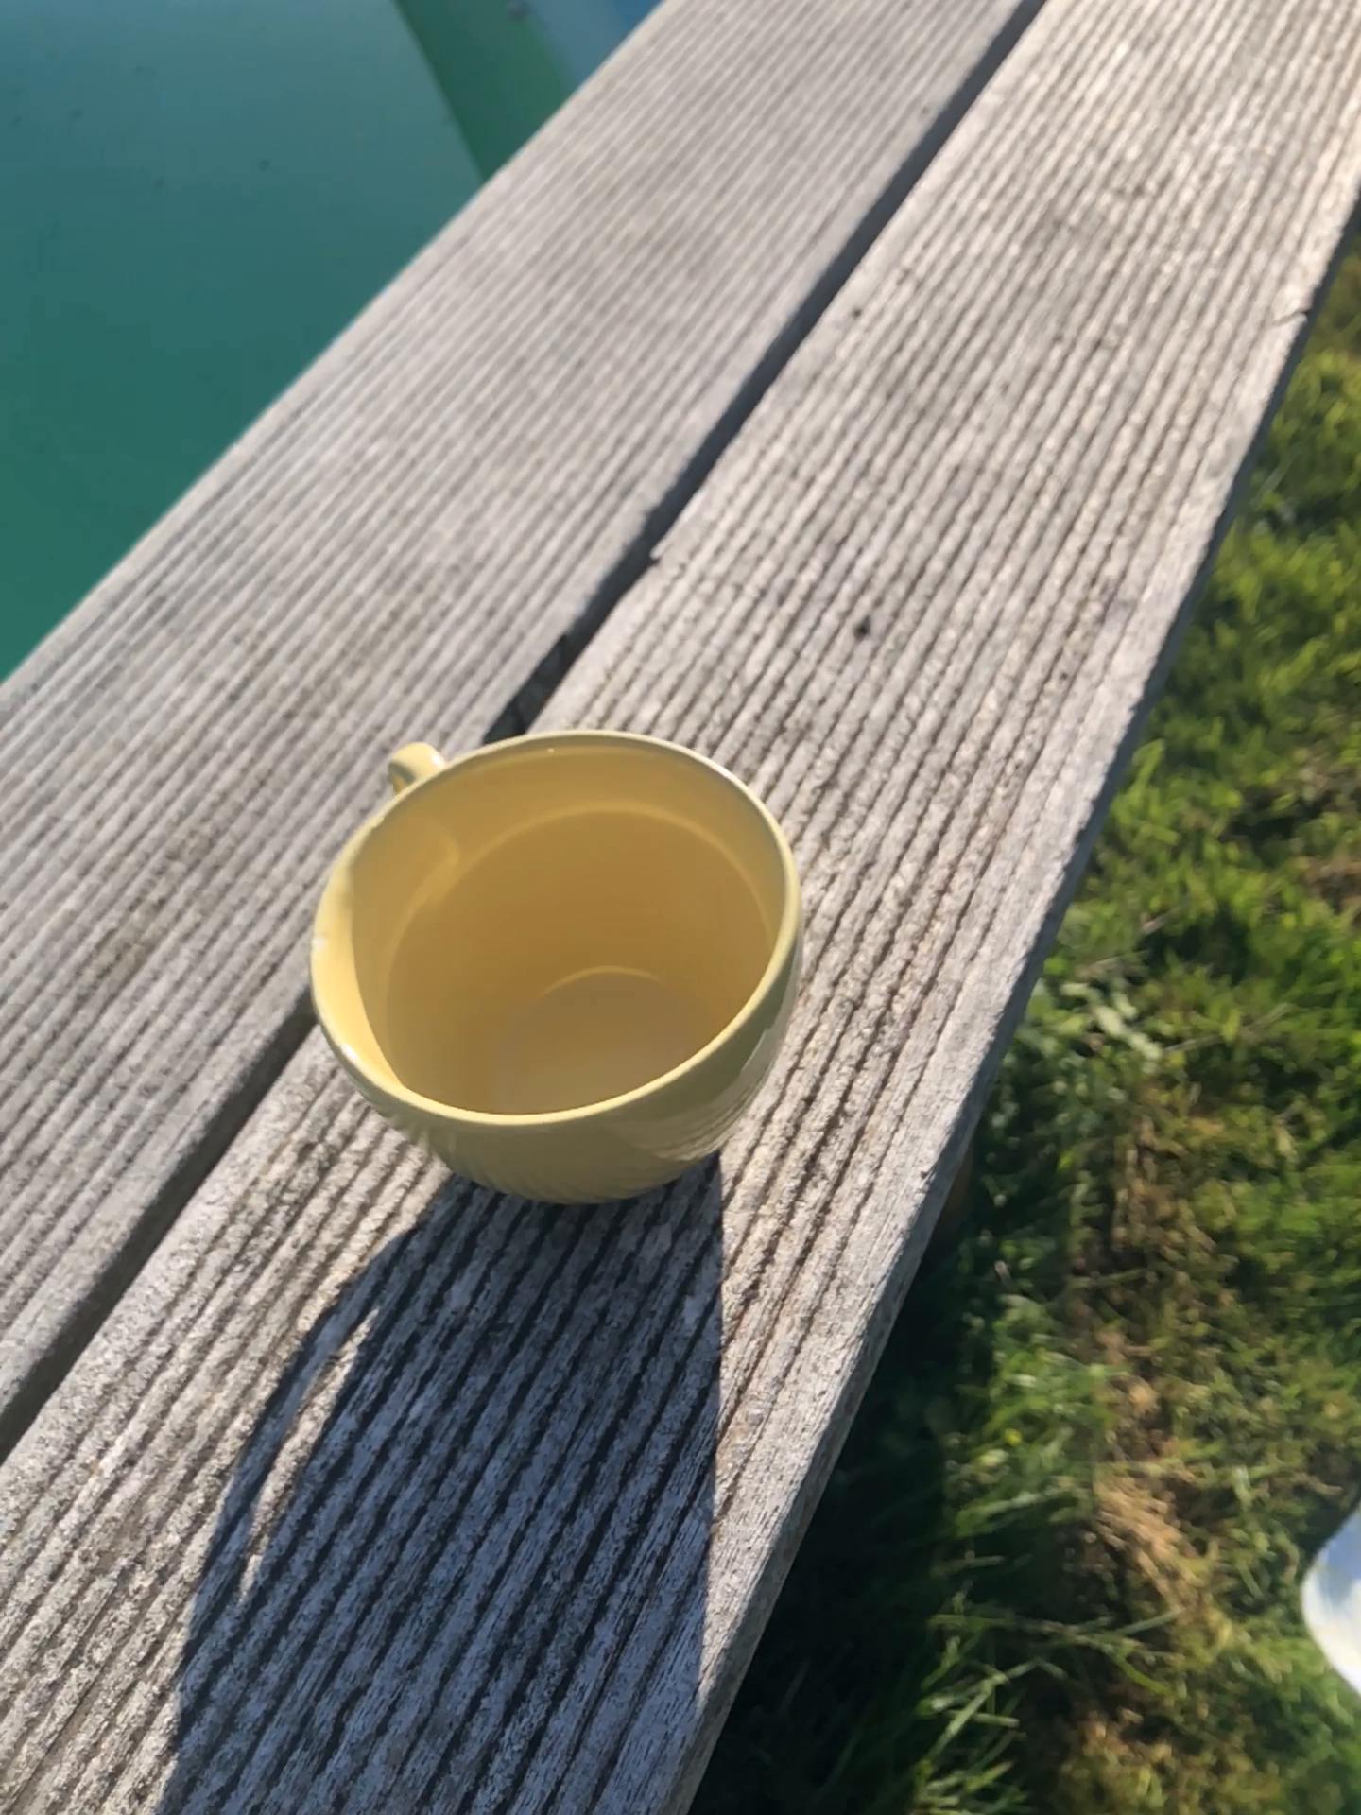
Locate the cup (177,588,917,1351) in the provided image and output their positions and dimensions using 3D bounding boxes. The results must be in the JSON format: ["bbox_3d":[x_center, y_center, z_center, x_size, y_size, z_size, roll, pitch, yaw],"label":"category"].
[{"bbox_3d":[-0.026,0.006,0.294,0.089,0.053,0.112,-32,56,-16],"label":"cup"}]
